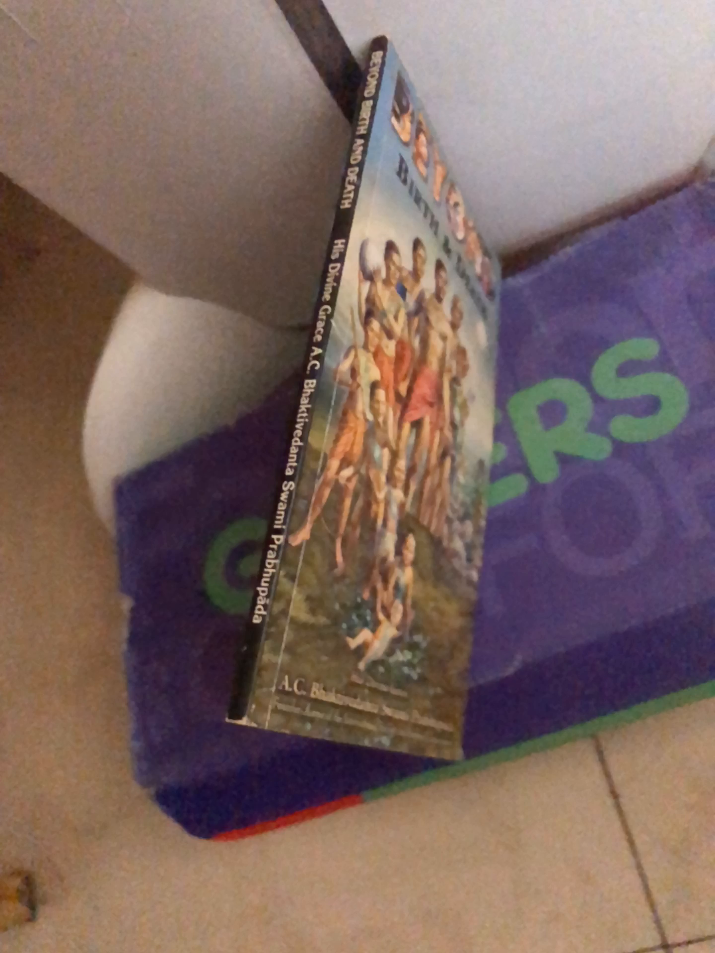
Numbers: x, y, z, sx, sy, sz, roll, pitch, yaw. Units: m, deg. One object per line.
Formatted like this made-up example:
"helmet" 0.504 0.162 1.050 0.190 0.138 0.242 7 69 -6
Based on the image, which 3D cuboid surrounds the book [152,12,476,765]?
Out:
"book" 0.003 -0.019 0.244 0.010 0.120 0.190 -1 67 27
